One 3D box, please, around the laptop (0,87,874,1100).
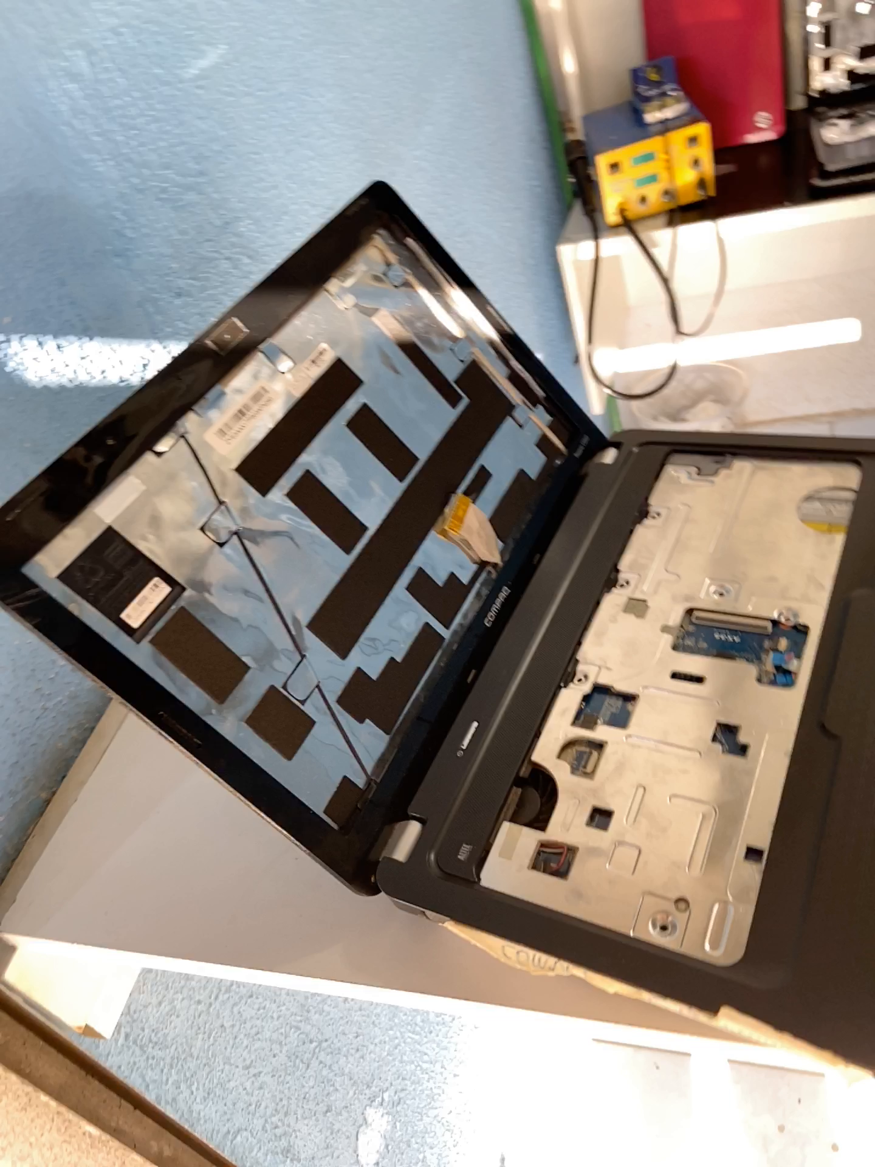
[{"bbox_3d":[0.069,-0.040,0.407,0.336,0.182,0.333,7,47,31],"label":"laptop"}]
